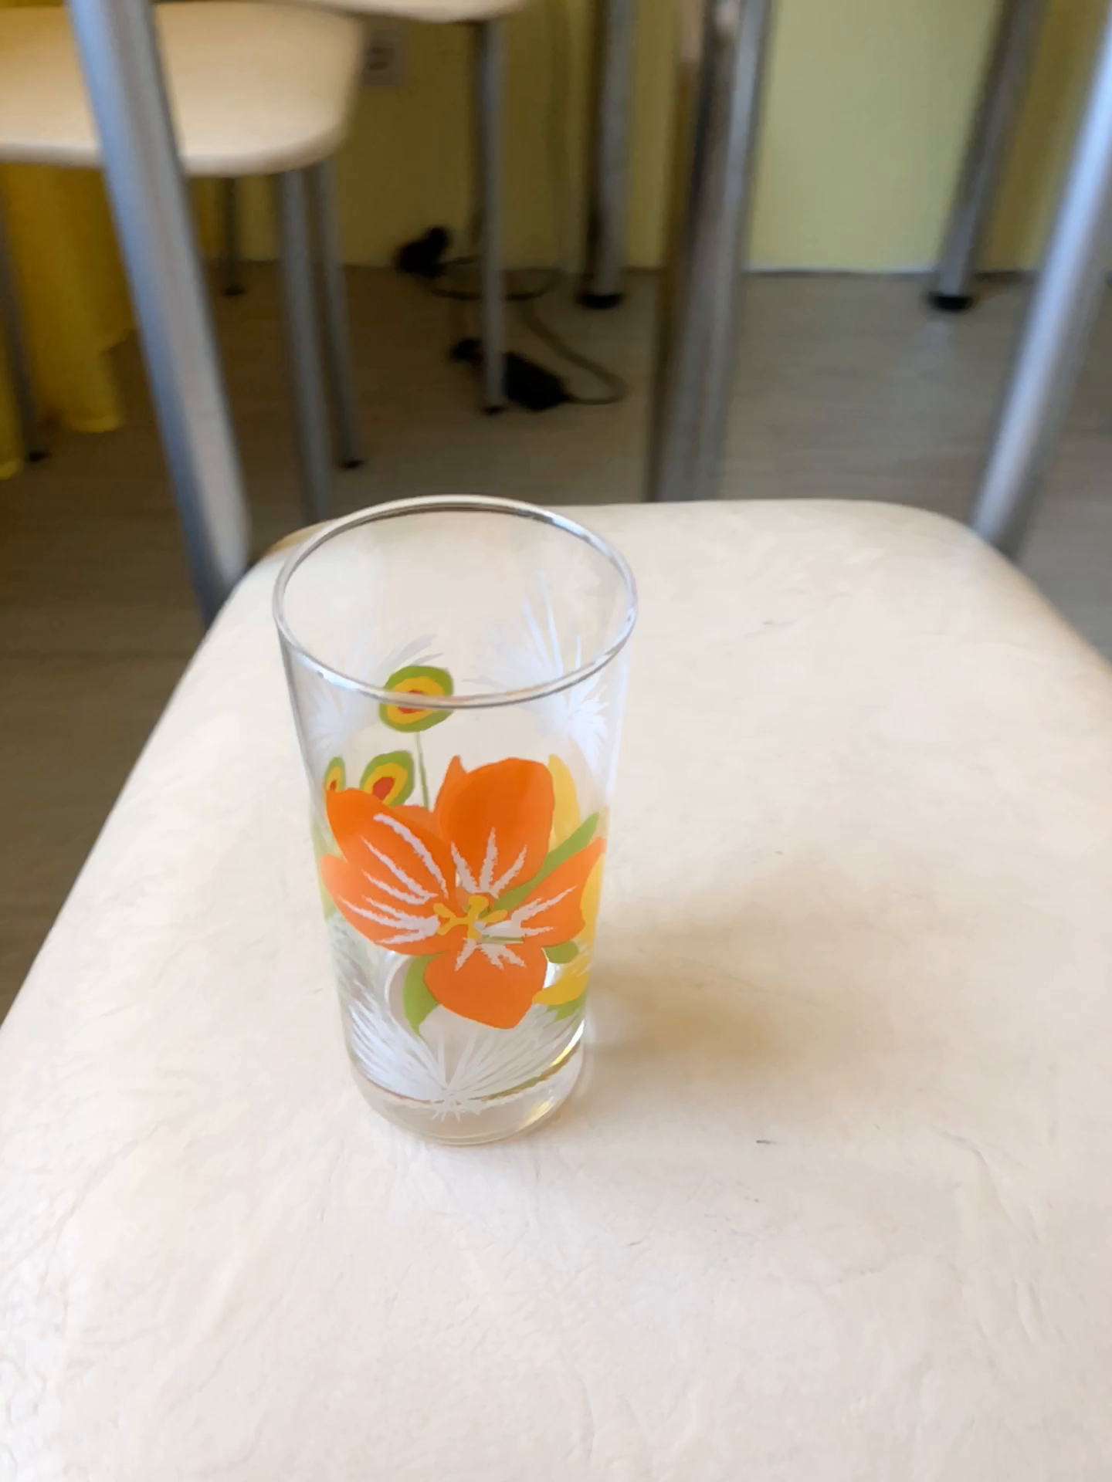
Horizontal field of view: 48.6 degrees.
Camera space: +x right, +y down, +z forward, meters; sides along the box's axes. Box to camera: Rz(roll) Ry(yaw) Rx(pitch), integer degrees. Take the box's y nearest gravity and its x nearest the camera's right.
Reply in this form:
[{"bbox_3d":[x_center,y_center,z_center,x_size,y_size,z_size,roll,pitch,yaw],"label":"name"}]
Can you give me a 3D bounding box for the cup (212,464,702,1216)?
[{"bbox_3d":[-0.020,0.024,0.250,0.061,0.133,0.063,1,42,-1],"label":"cup"}]
